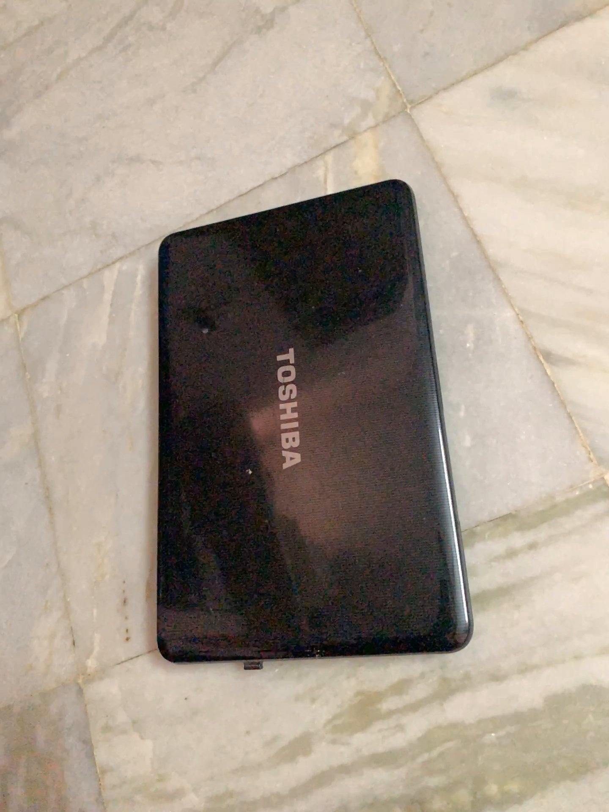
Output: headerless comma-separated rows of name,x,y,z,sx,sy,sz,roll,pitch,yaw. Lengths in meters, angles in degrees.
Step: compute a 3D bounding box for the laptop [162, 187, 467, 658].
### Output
laptop,-0.011,0.004,0.497,0.222,0.003,0.355,-9,73,14
